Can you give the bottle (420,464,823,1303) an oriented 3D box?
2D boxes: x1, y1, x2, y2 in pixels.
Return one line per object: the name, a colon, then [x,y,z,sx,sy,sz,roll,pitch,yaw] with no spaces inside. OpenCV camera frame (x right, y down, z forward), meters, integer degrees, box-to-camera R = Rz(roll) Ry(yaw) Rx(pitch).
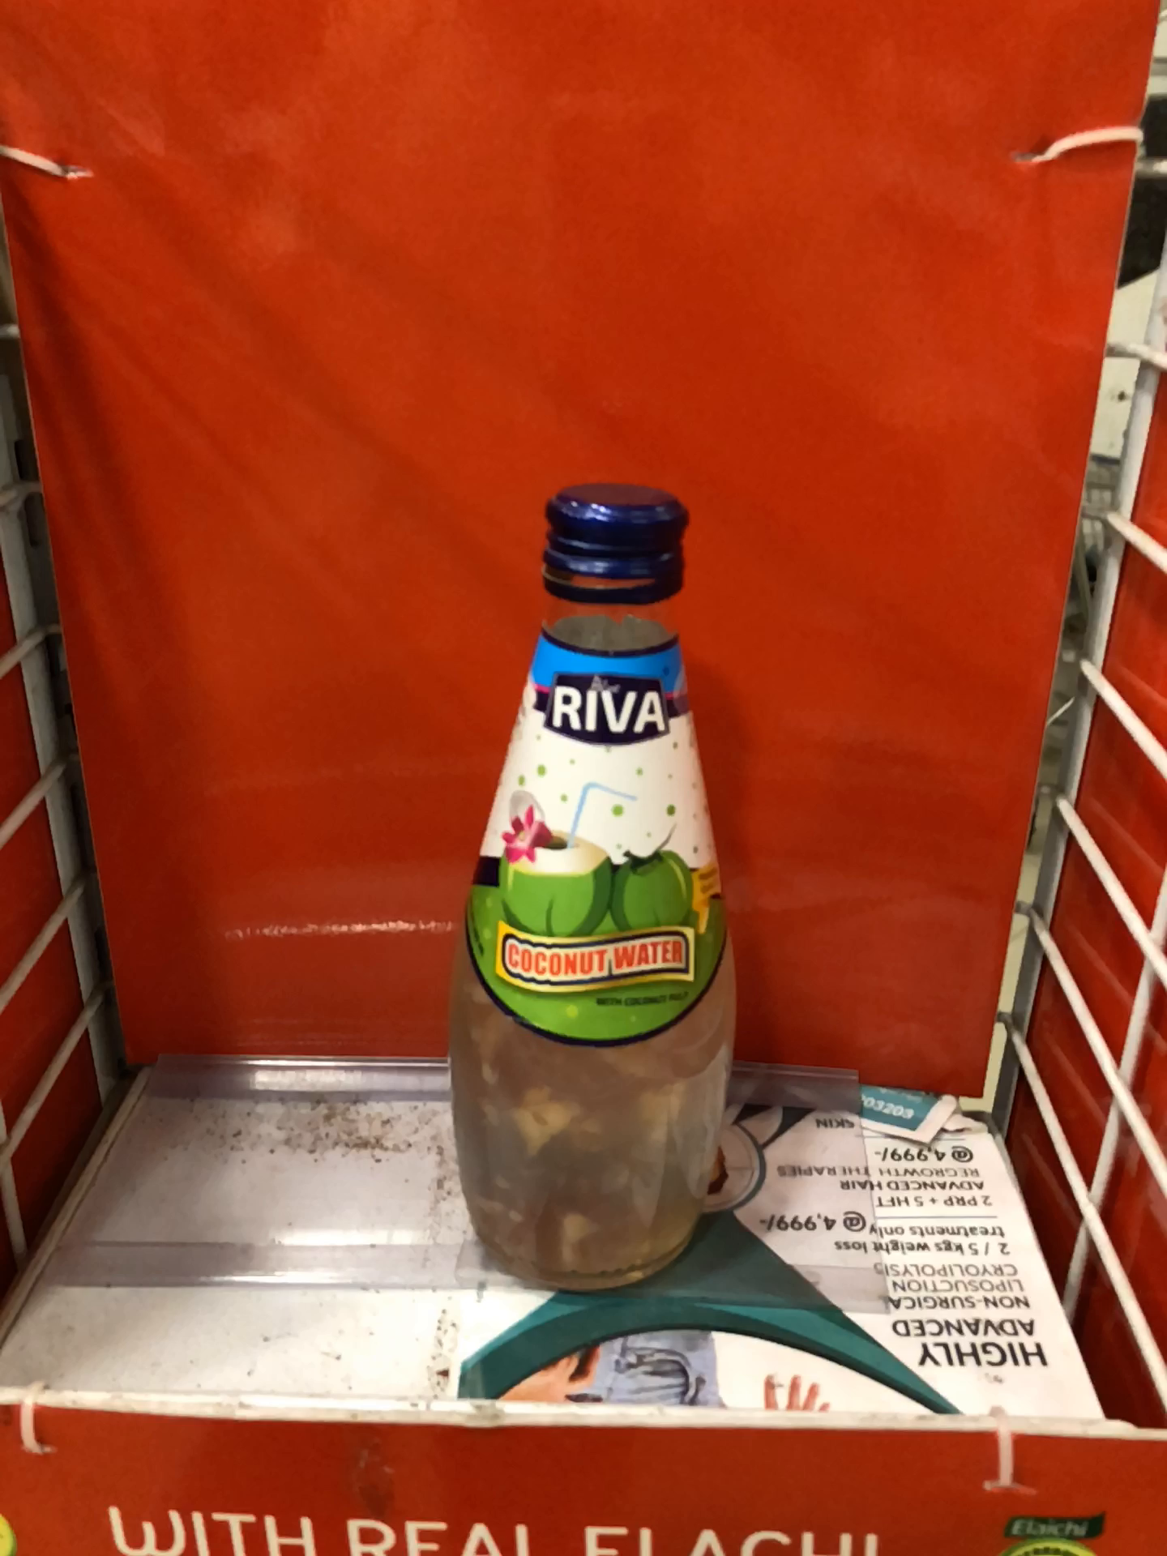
bottle: [0.006,0.027,0.289,0.070,0.179,0.060,1,25,1]
